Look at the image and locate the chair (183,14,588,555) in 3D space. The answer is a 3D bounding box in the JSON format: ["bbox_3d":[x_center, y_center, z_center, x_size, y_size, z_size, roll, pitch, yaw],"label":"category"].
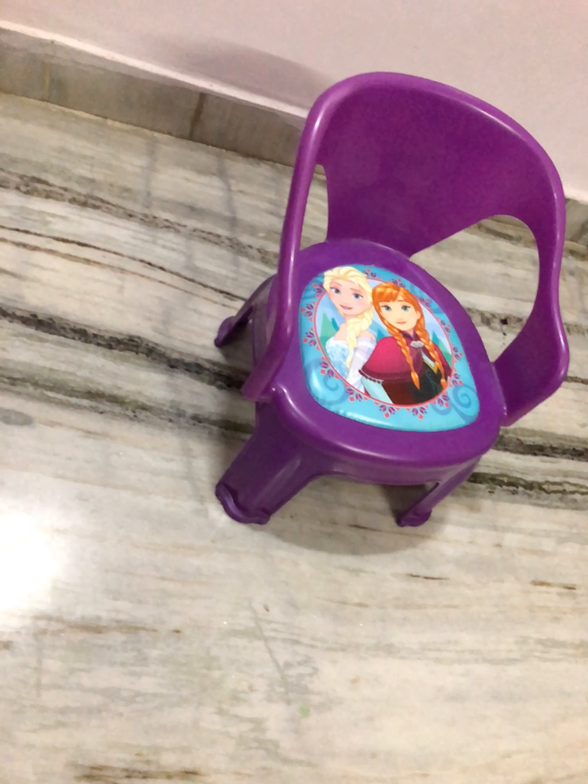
[{"bbox_3d":[0.100,-0.073,0.707,0.351,0.348,0.392,9,58,-22],"label":"chair"}]
